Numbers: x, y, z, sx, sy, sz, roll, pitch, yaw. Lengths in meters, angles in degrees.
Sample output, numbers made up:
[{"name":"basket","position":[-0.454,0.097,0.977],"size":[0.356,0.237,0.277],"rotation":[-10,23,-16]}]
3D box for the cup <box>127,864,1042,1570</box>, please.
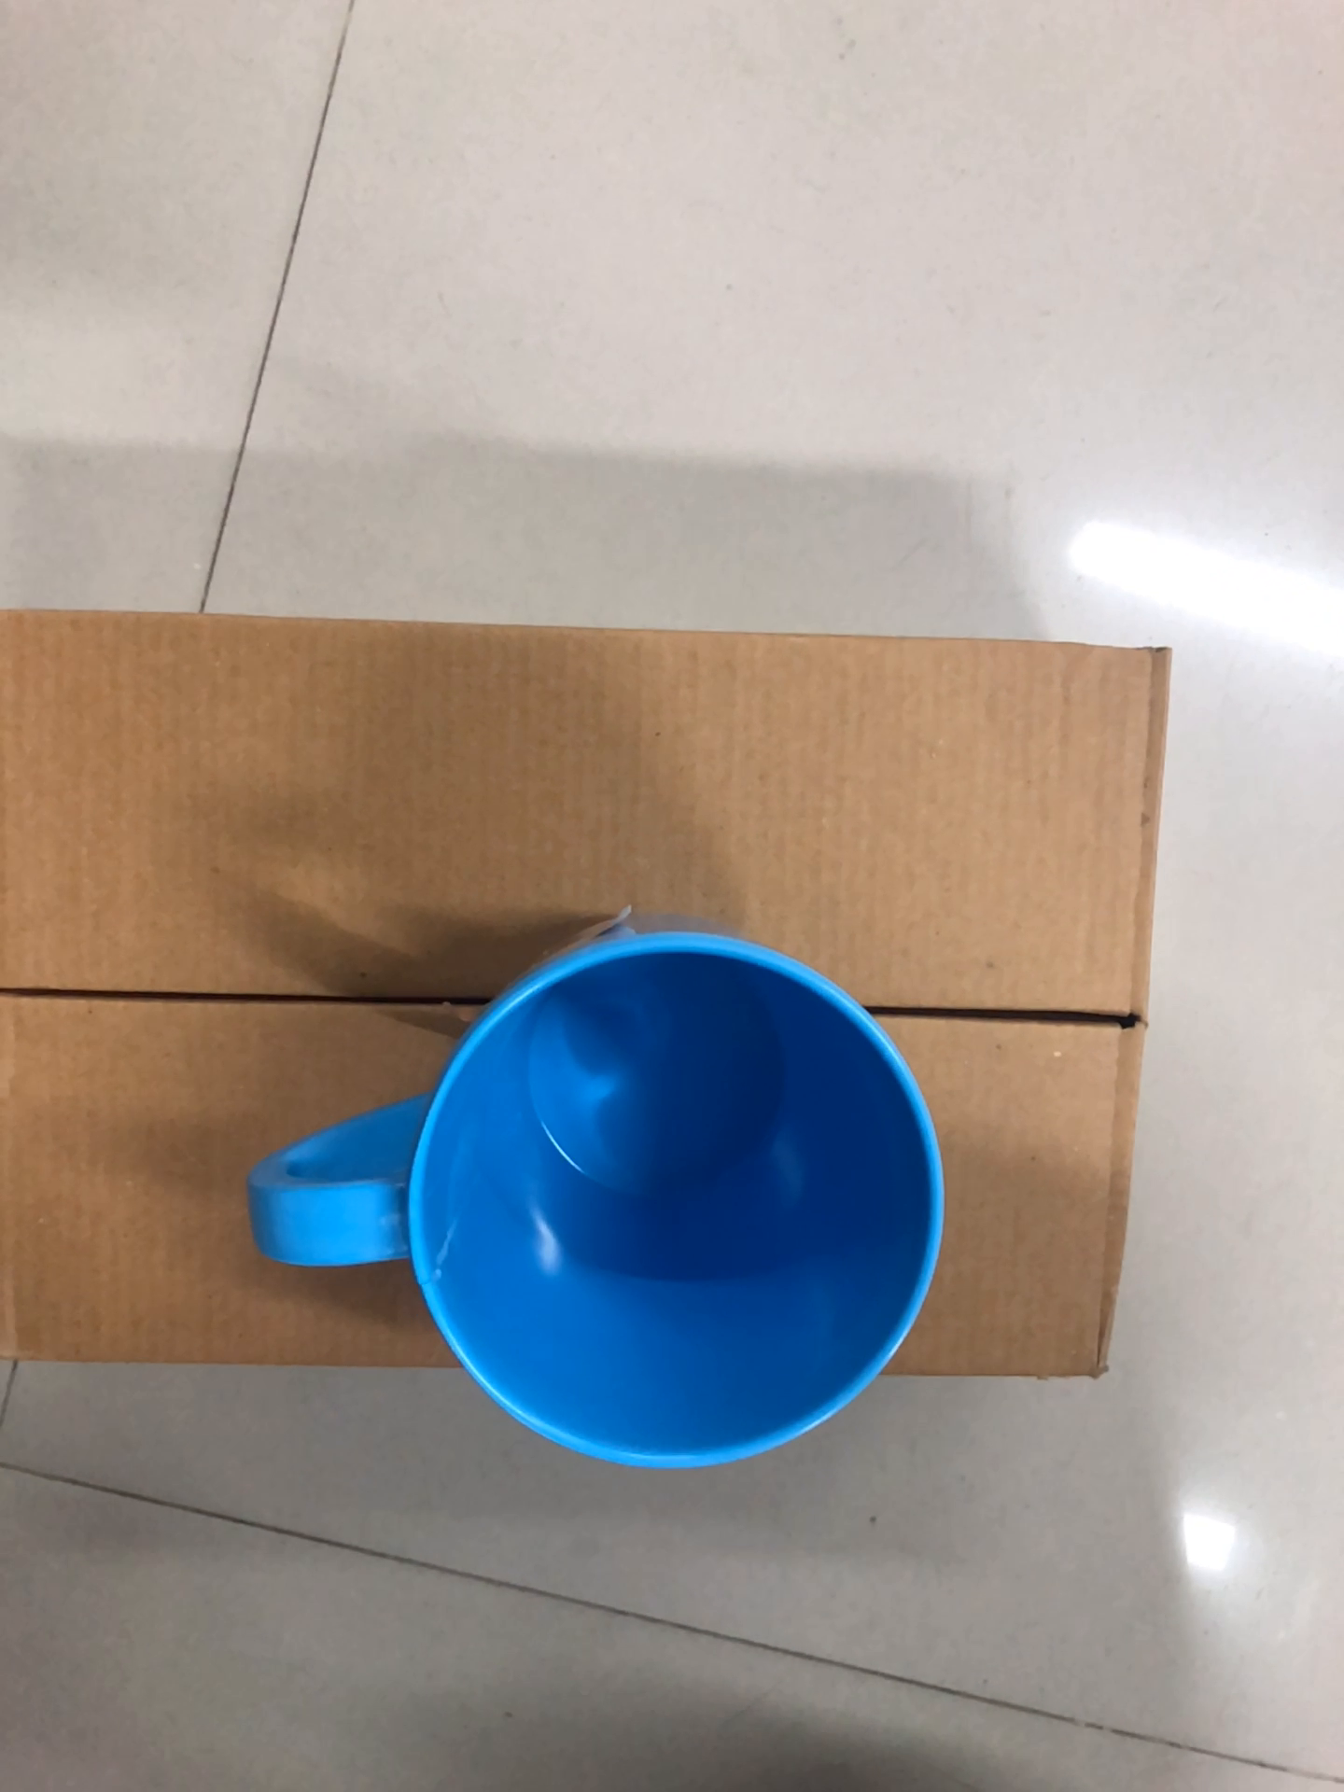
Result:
[{"name":"cup","position":[-0.012,0.045,0.256],"size":[0.120,0.090,0.080],"rotation":[-7,96,-2]}]
